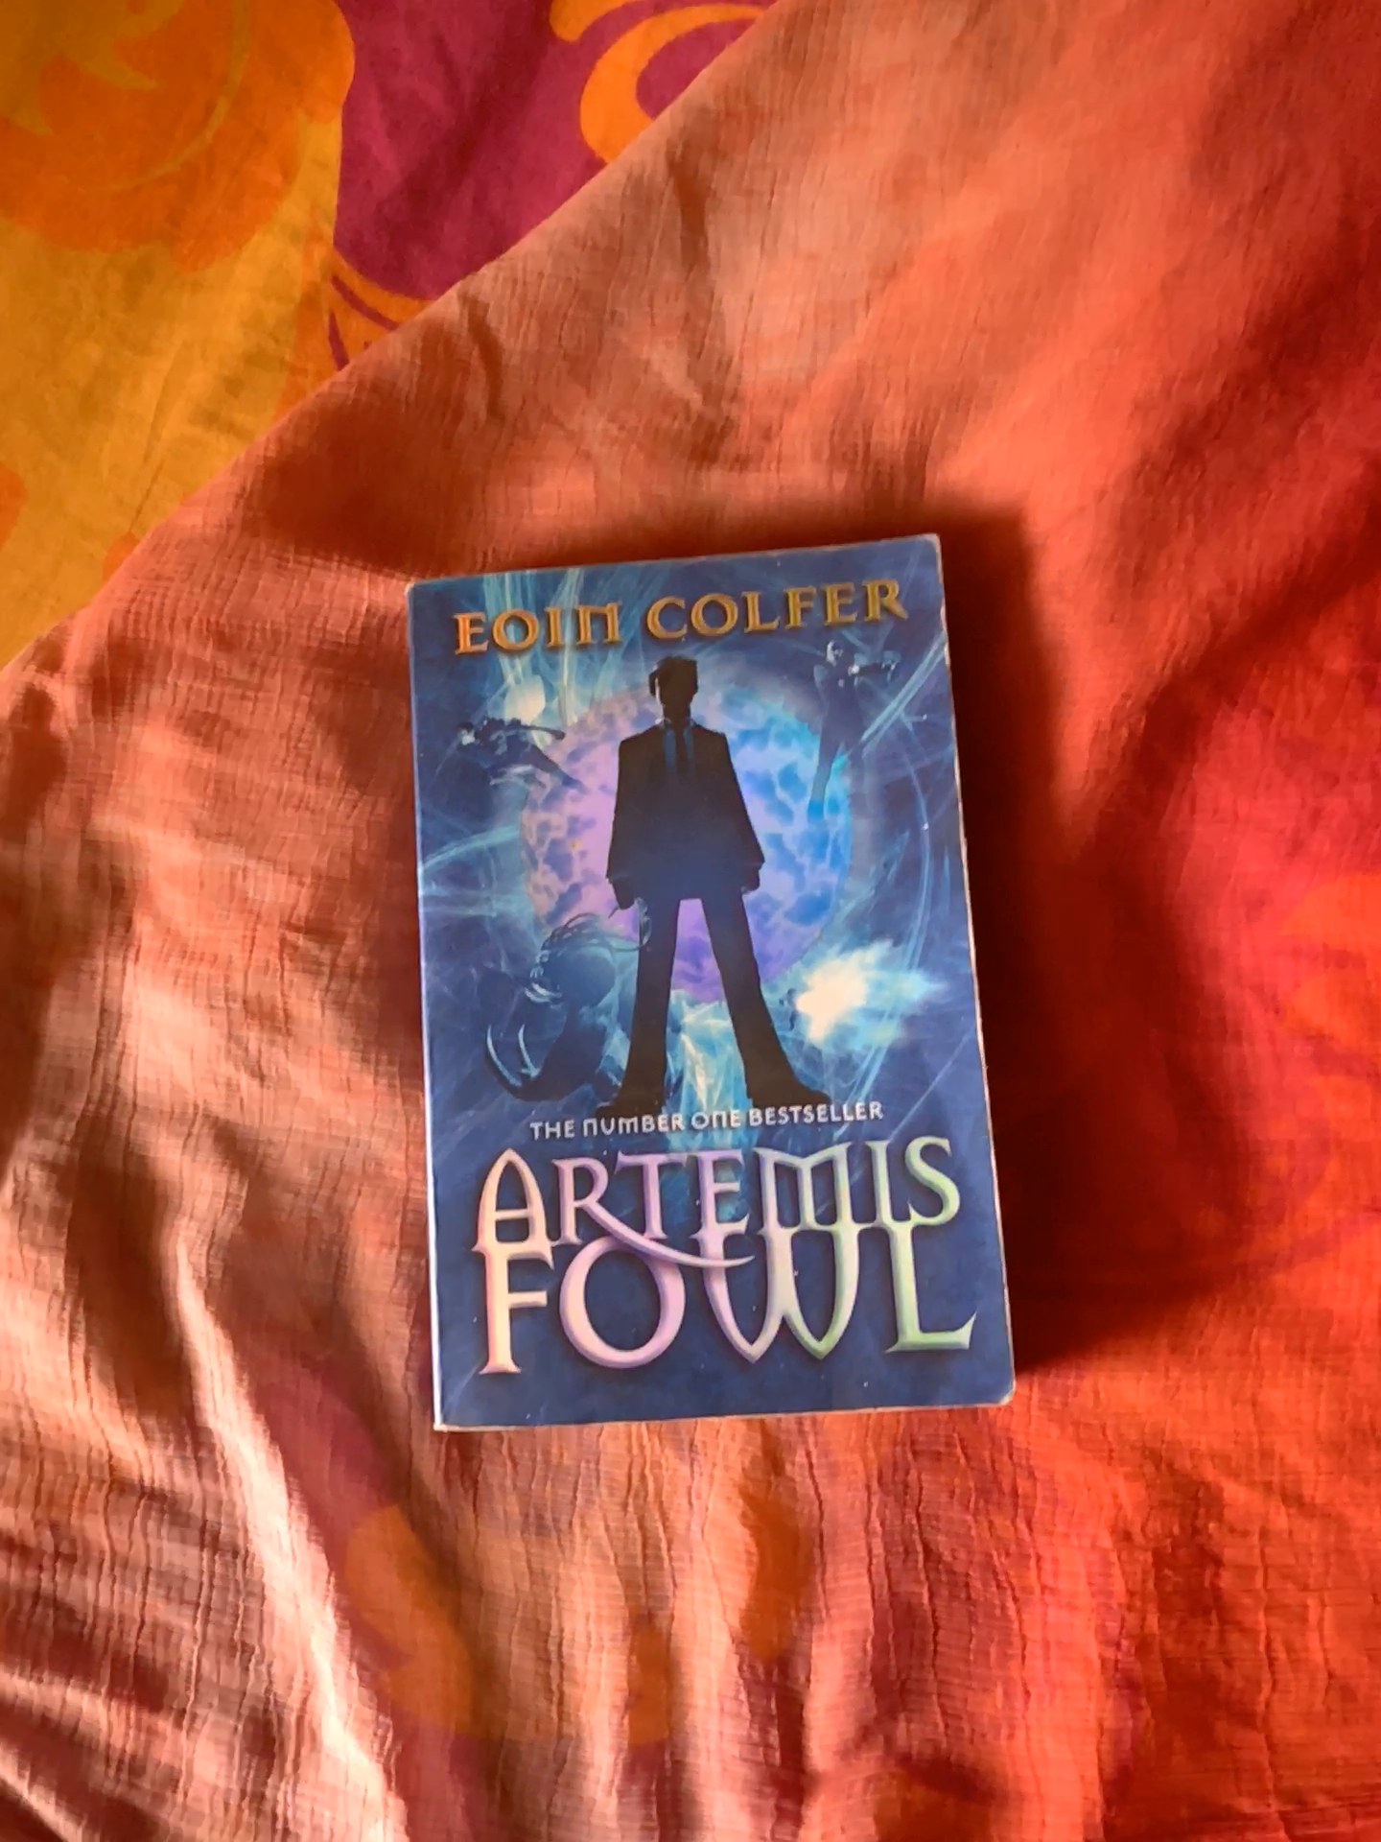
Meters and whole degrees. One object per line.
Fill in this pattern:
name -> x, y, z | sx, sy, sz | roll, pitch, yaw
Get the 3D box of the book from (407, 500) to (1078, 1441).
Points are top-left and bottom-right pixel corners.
book -> 0.009, 0.011, 0.315 | 0.130, 0.030, 0.190 | -4, 85, 6
